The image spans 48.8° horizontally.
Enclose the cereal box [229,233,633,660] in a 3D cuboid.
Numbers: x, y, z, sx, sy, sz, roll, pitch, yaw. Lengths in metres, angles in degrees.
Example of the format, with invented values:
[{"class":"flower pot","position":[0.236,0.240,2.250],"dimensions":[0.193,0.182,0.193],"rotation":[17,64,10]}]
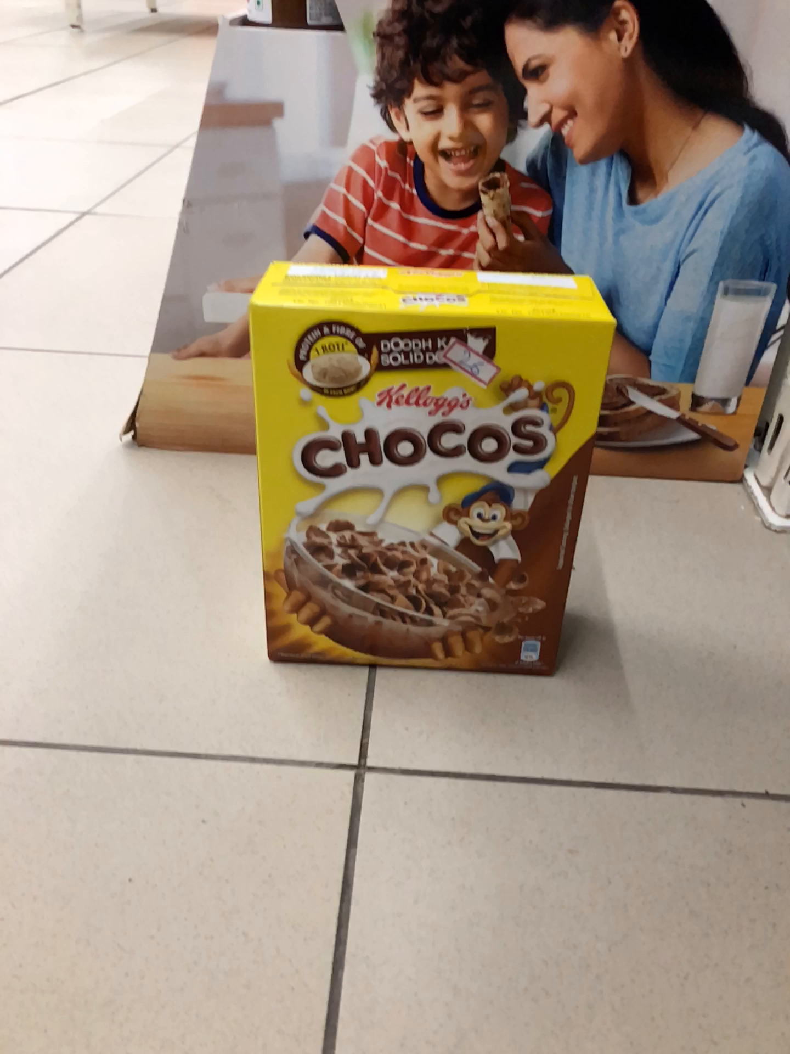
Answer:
[{"class":"cereal box","position":[0.010,-0.028,0.368],"dimensions":[0.140,0.169,0.050],"rotation":[3,34,0]}]
